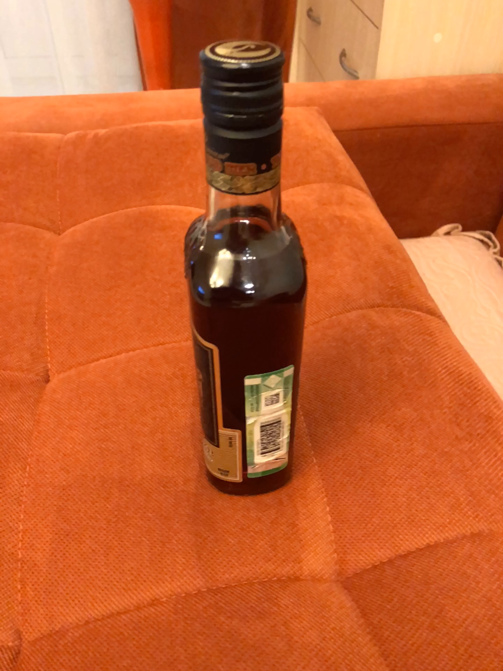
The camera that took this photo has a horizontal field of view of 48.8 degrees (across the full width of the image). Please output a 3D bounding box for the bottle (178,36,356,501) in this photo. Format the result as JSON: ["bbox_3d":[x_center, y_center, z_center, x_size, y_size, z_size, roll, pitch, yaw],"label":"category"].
[{"bbox_3d":[0.002,-0.013,0.286,0.056,0.237,0.074,-4,43,-5],"label":"bottle"}]
